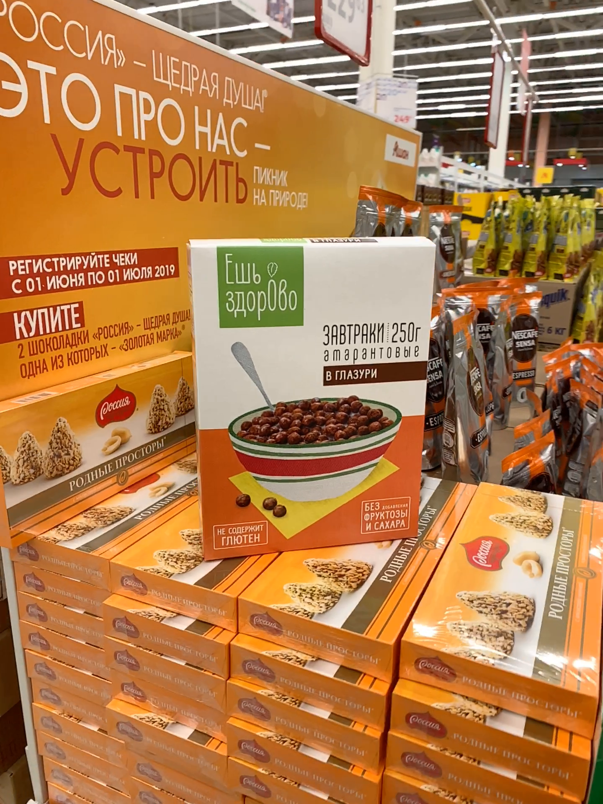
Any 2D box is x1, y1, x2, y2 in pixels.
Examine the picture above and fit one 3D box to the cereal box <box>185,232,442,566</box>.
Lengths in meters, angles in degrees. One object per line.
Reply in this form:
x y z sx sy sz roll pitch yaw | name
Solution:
0.007 -0.006 0.516 0.190 0.259 0.060 -3 16 -13 | cereal box
